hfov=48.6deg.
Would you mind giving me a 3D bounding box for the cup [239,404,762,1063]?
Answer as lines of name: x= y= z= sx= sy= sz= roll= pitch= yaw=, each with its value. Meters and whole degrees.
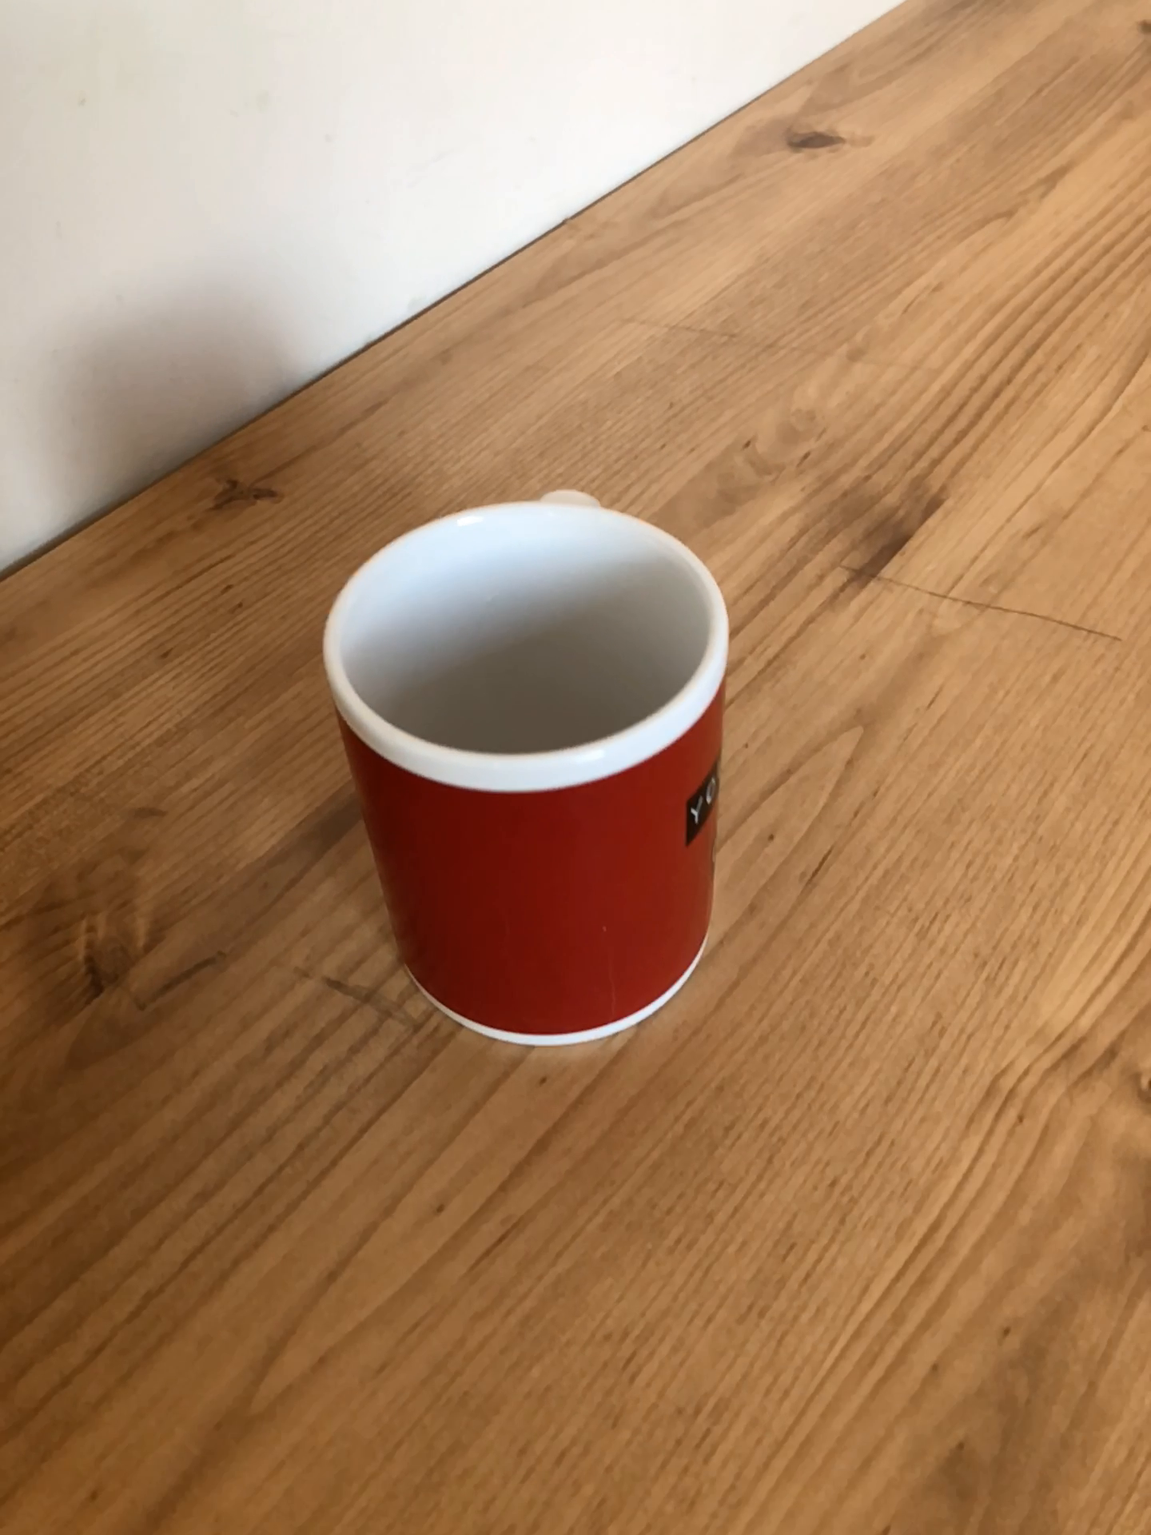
cup: x=-0.005 y=-0.012 z=0.293 sx=0.091 sy=0.086 sz=0.124 roll=2 pitch=47 yaw=7
